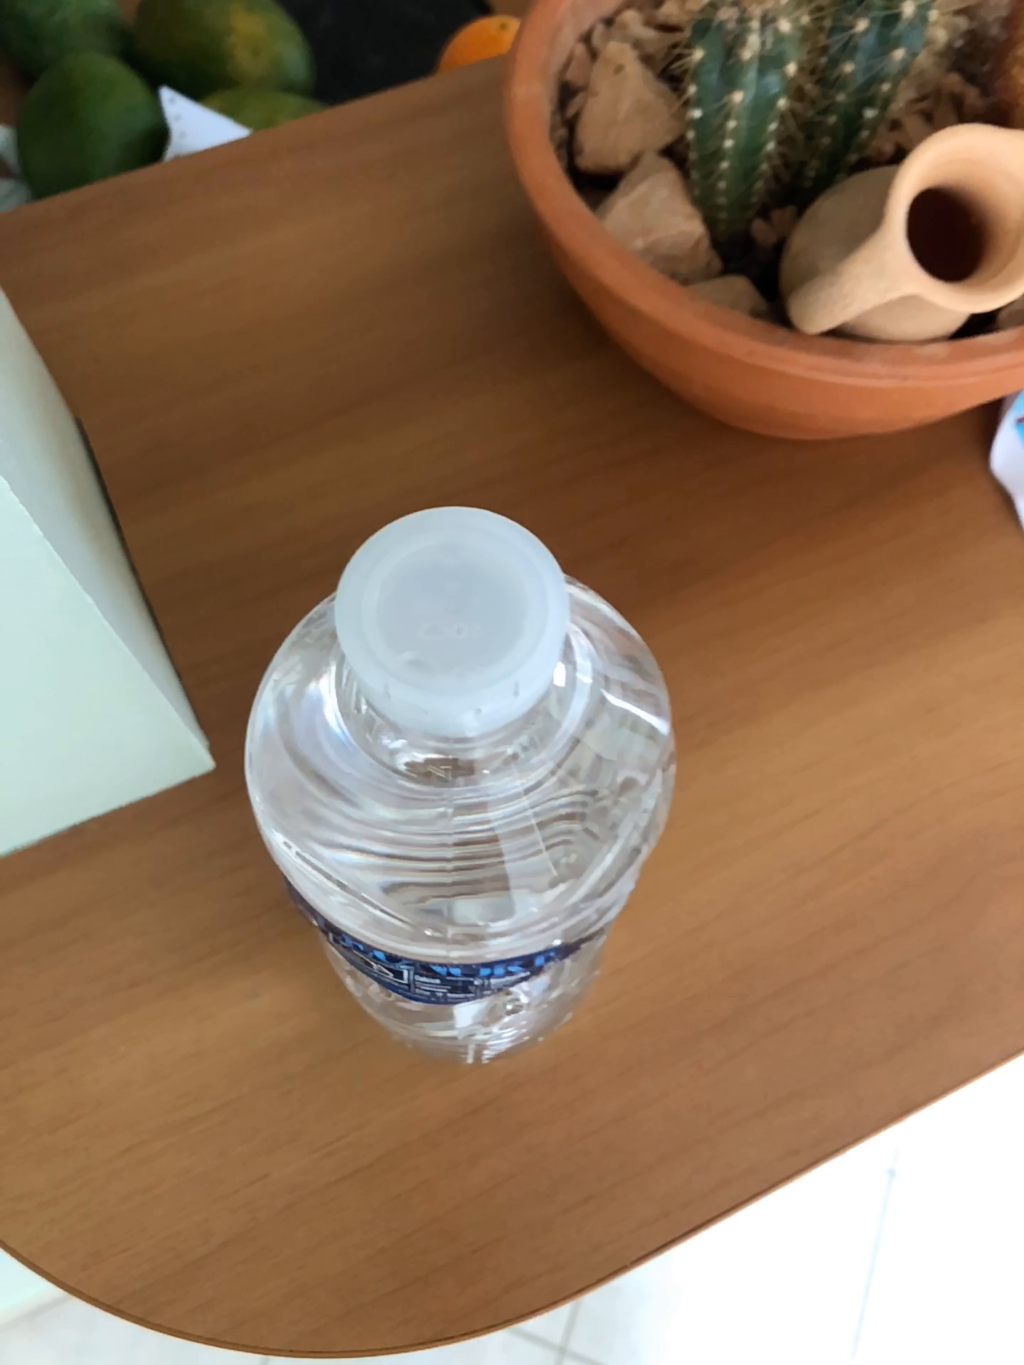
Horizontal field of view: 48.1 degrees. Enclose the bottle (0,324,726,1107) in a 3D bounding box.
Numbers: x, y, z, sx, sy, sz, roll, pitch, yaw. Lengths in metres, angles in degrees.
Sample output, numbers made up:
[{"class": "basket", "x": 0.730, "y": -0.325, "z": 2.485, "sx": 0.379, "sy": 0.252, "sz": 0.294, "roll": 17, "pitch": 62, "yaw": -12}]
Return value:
[{"class": "bottle", "x": -0.014, "y": 0.030, "z": 0.220, "sx": 0.070, "sy": 0.189, "sz": 0.070, "roll": 0, "pitch": 65, "yaw": 0}]
